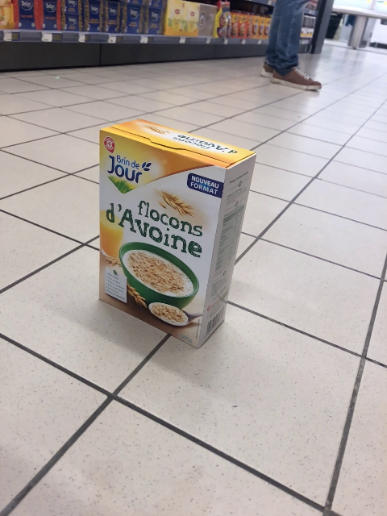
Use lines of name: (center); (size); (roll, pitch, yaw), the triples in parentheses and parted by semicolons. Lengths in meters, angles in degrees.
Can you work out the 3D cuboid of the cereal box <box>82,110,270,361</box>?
cereal box: (-0.030, -0.027, 0.447); (0.160, 0.209, 0.070); (23, 31, 24)
